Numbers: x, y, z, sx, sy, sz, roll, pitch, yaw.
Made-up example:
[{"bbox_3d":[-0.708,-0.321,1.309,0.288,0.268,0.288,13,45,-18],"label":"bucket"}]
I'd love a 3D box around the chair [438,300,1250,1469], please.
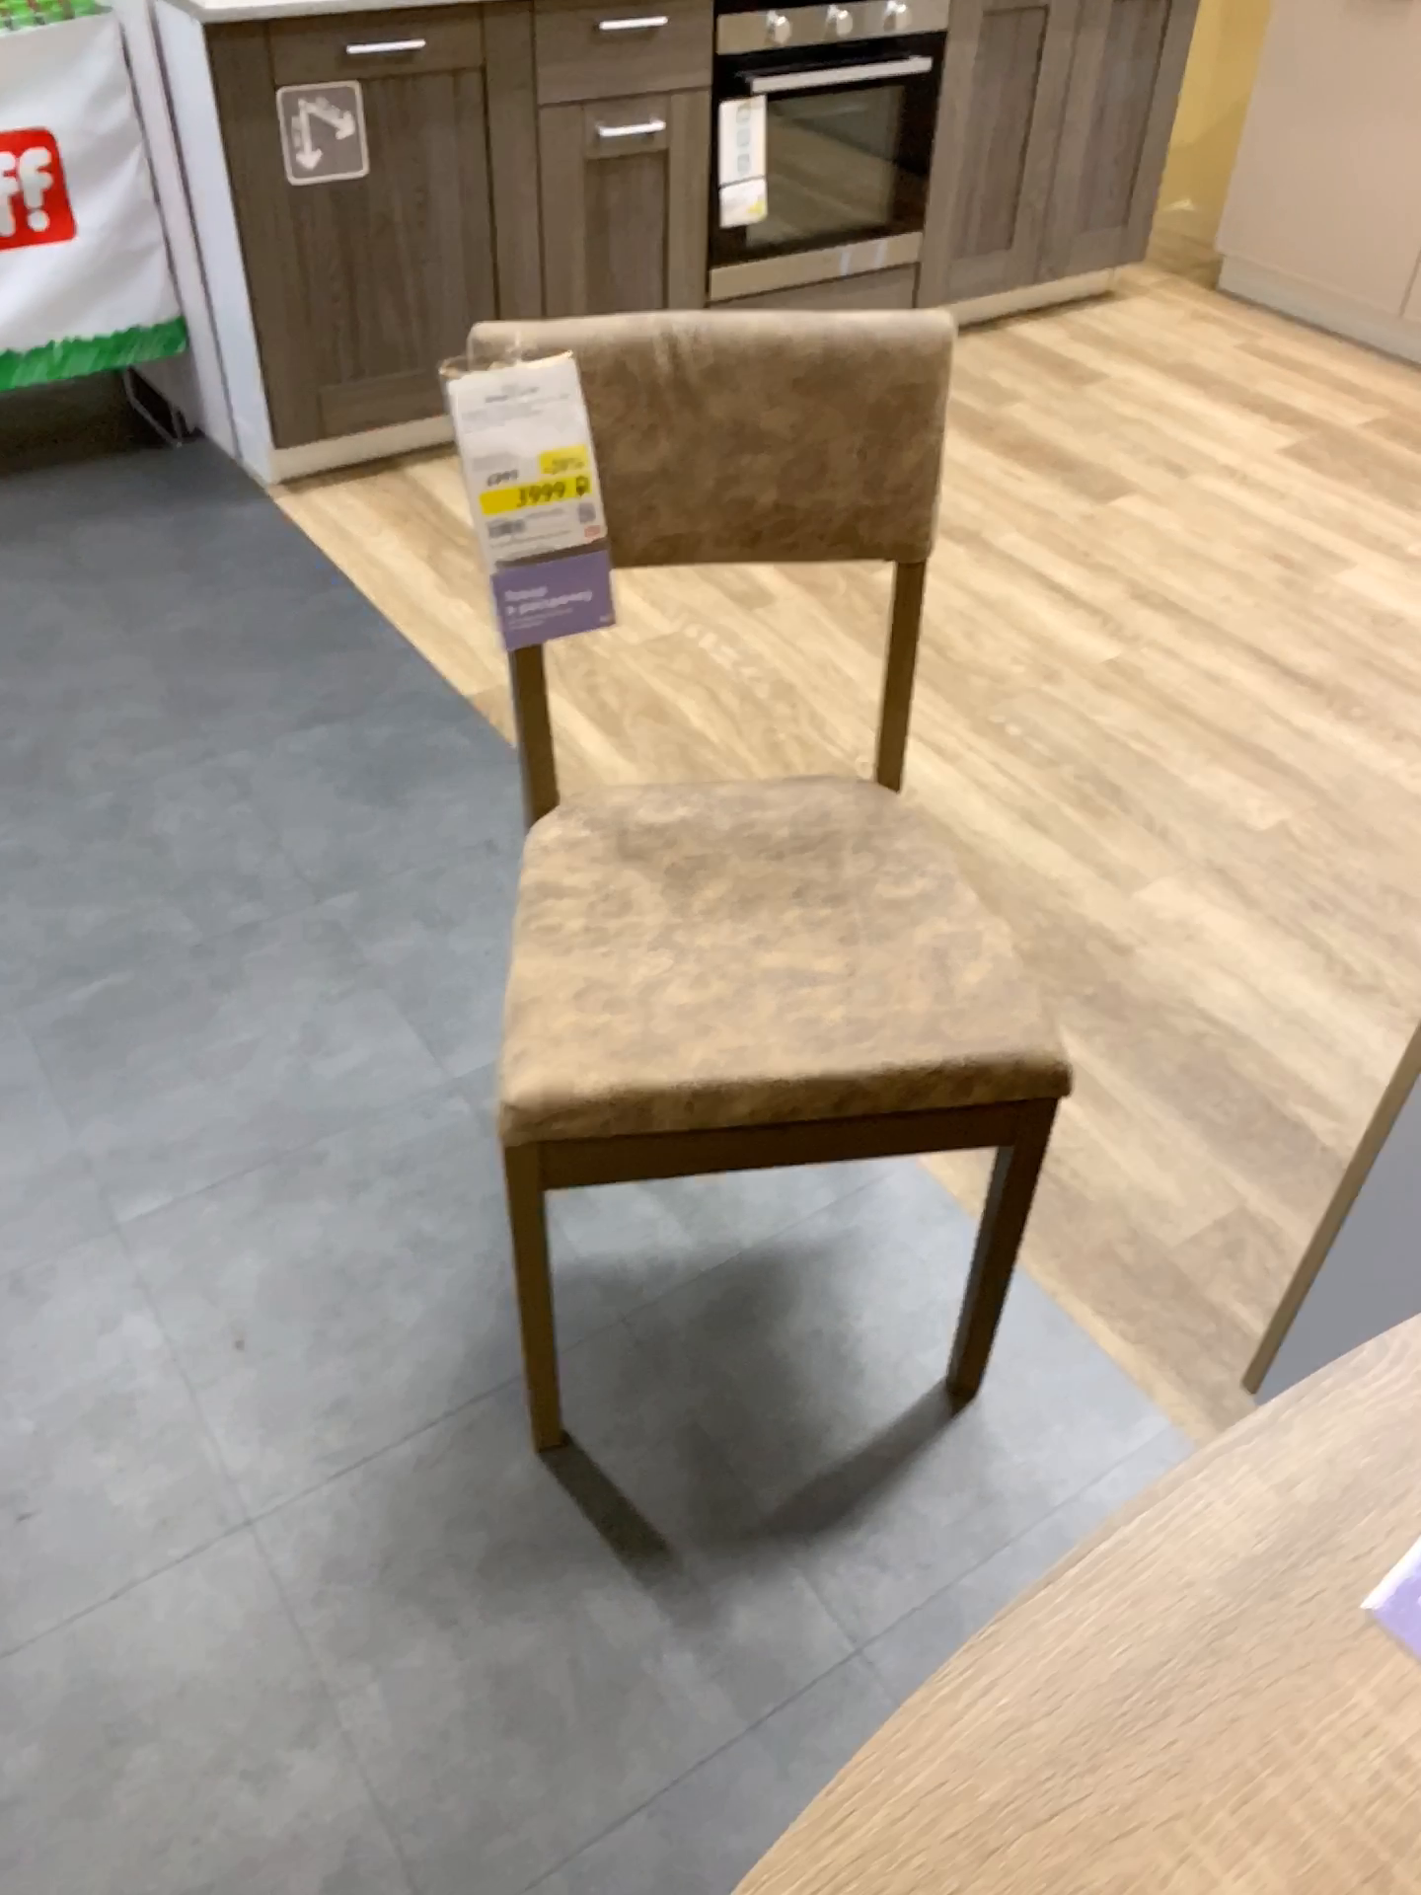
[{"bbox_3d":[0.035,-0.025,1.346,0.480,0.924,0.513,-4,42,-8],"label":"chair"}]
